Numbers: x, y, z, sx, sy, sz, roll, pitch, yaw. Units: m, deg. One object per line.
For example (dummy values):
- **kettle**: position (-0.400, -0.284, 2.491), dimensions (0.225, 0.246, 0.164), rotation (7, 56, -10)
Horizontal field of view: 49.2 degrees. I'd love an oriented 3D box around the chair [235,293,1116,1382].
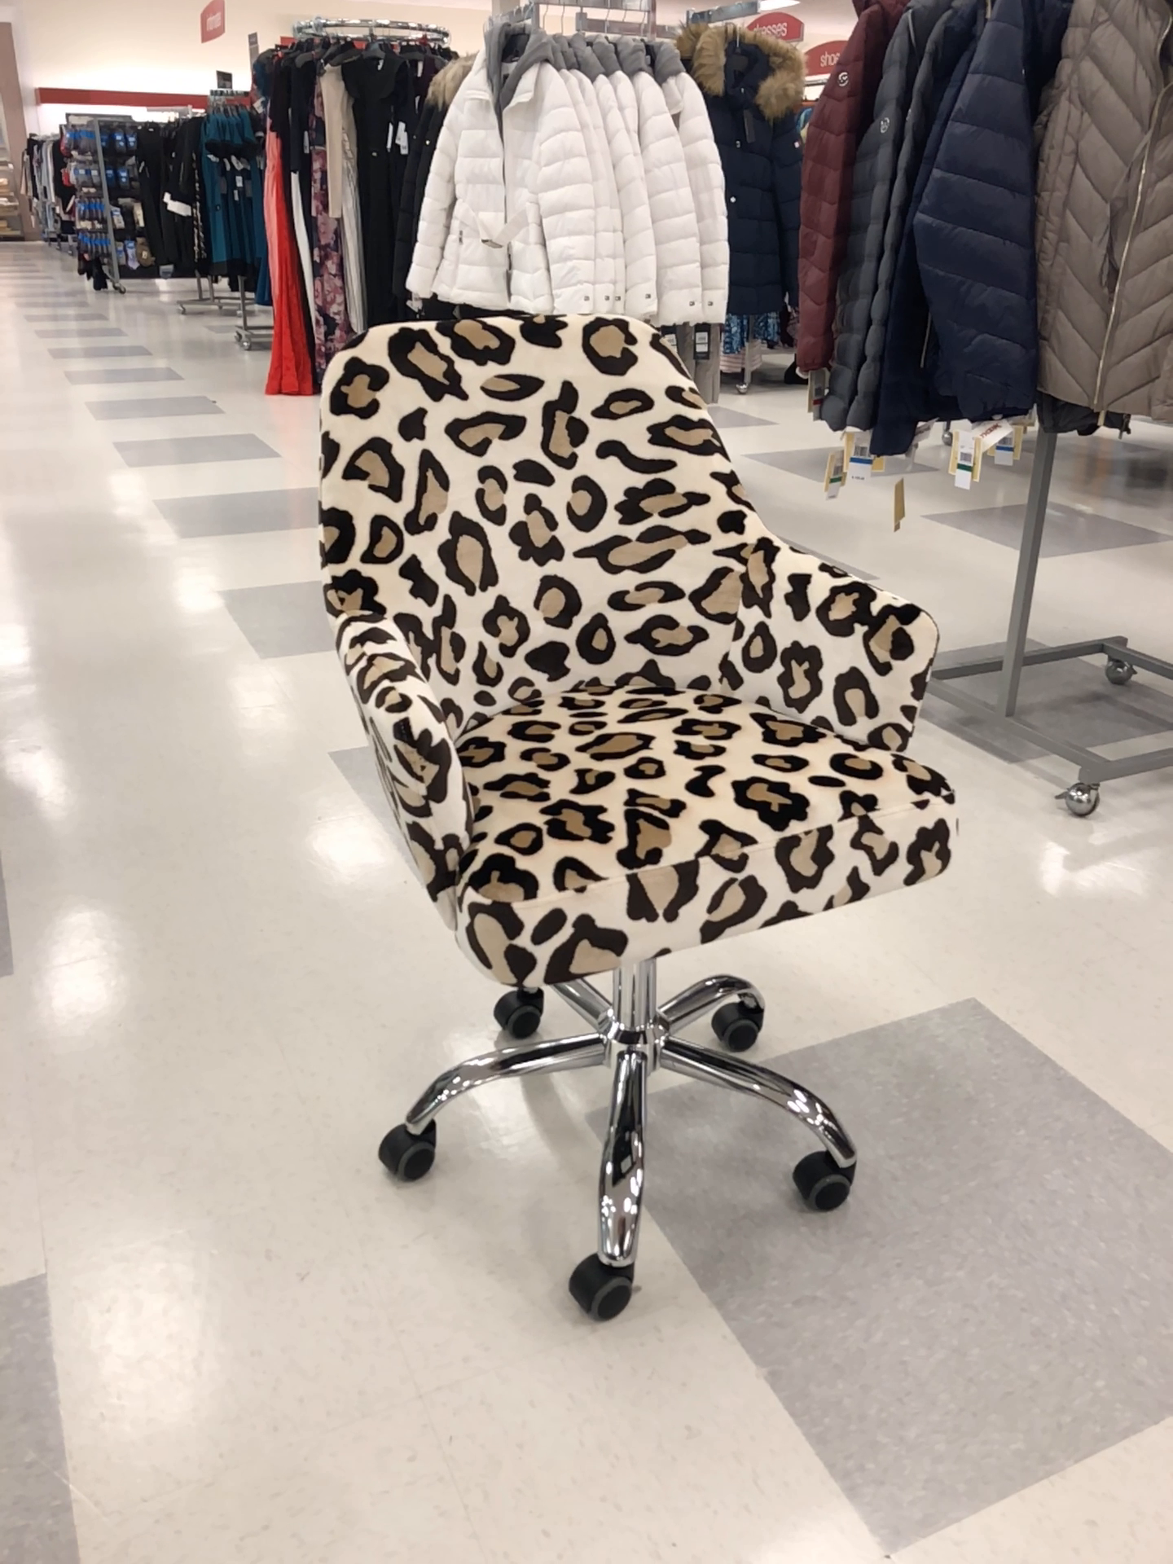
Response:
- **chair**: position (0.037, -0.019, 1.354), dimensions (0.601, 0.888, 0.581), rotation (-11, 26, -24)
